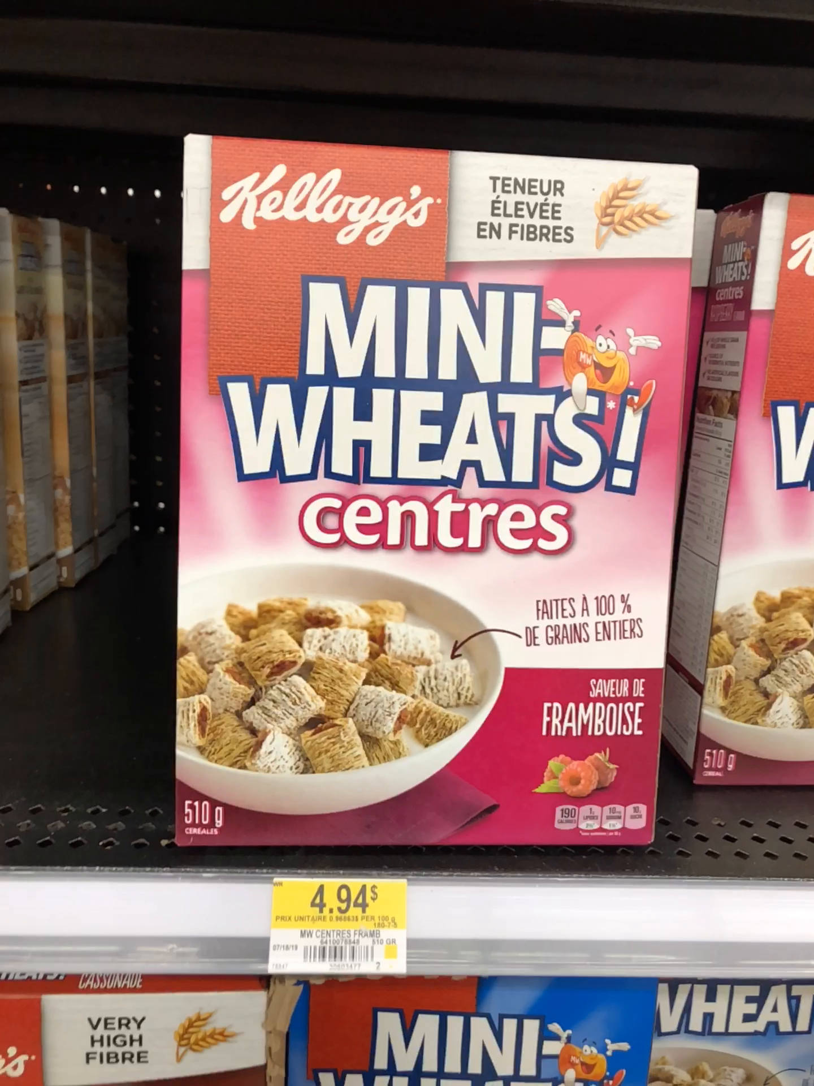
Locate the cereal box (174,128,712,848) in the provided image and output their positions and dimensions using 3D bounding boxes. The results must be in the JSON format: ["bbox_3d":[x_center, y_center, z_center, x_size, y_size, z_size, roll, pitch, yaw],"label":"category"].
[{"bbox_3d":[0.008,-0.017,0.366,0.190,0.259,0.070,1,7,-4],"label":"cereal box"}]
